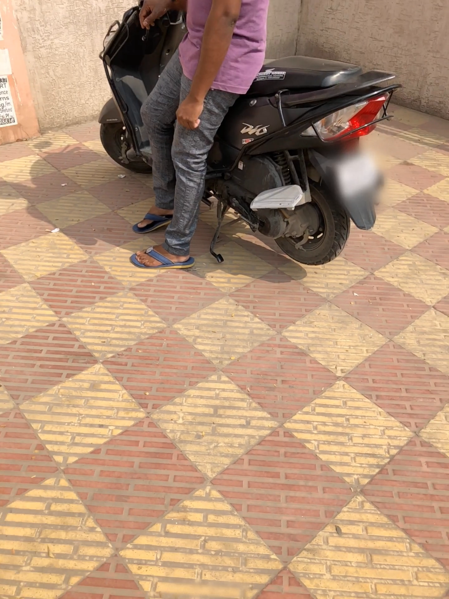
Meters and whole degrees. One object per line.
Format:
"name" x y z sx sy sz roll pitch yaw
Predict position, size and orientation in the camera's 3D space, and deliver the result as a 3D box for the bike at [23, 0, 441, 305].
"bike" -0.086 -0.799 2.122 1.506 0.987 0.577 30 47 32
